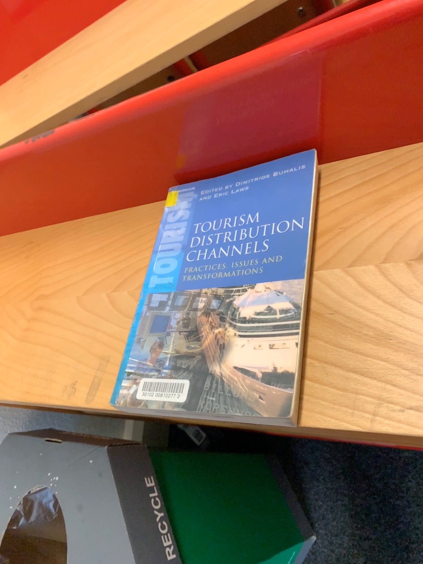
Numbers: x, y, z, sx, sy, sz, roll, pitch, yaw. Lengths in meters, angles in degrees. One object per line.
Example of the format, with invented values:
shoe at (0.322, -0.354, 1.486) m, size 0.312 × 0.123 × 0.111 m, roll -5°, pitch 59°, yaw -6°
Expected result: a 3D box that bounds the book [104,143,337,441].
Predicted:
book at (0.014, 0.000, 0.374) m, size 0.168 × 0.031 × 0.239 m, roll -5°, pitch 60°, yaw 30°
